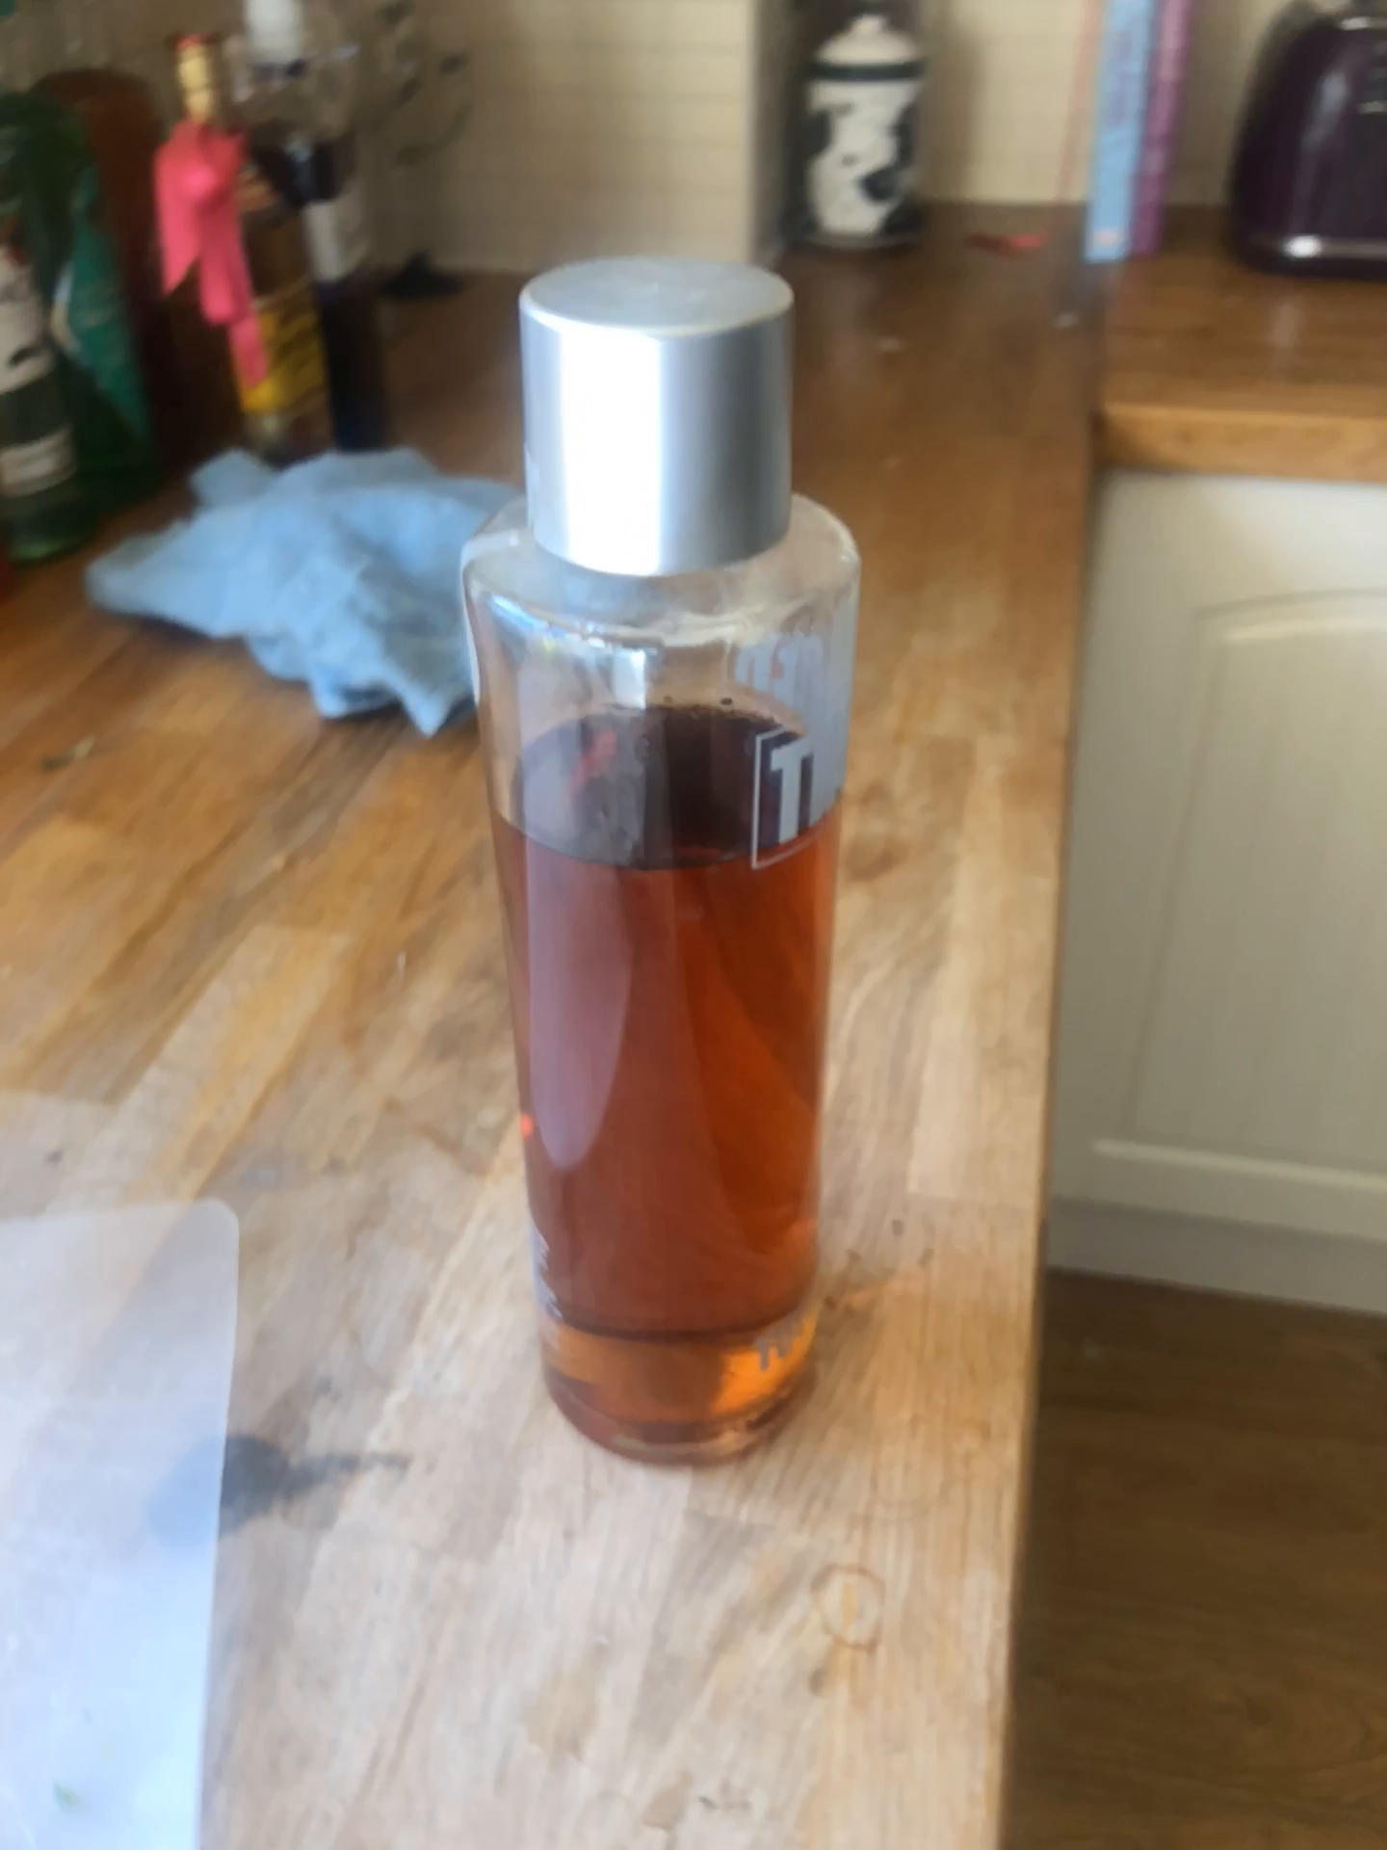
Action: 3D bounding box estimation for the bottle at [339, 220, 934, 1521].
[{"bbox_3d":[-0.003,0.005,0.342,0.080,0.278,0.081,-1,36,1],"label":"bottle"}]
